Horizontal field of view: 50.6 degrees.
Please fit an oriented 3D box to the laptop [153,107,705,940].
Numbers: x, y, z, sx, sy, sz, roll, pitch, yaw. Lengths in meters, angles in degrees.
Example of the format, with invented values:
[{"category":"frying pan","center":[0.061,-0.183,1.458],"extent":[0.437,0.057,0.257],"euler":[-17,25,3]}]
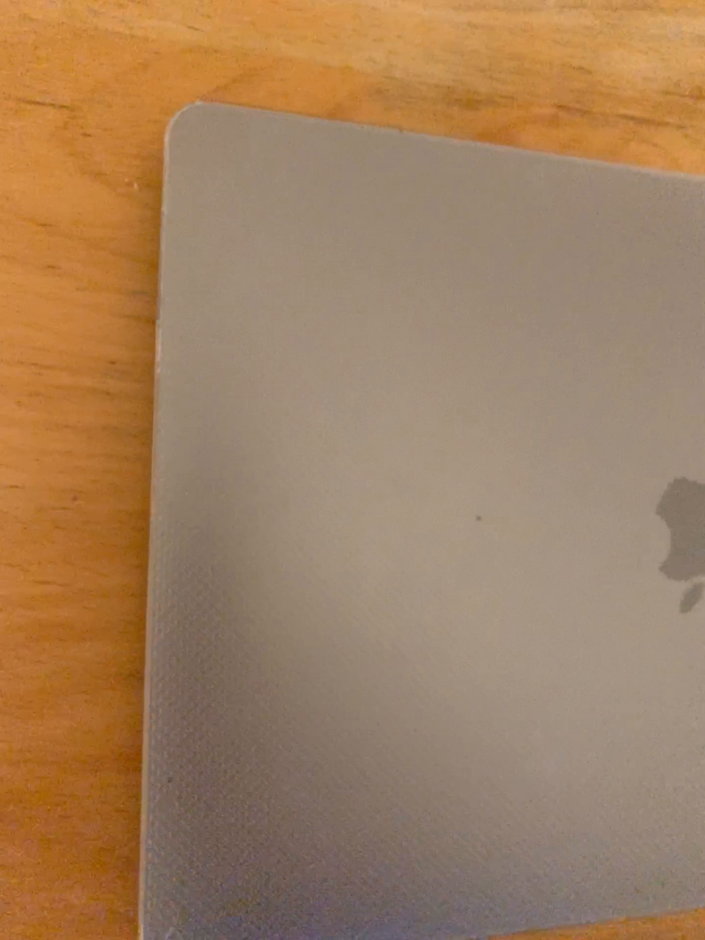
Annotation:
[{"category":"laptop","center":[0.094,0.018,0.220],"extent":[0.292,0.005,0.210],"euler":[2,87,-12]}]
